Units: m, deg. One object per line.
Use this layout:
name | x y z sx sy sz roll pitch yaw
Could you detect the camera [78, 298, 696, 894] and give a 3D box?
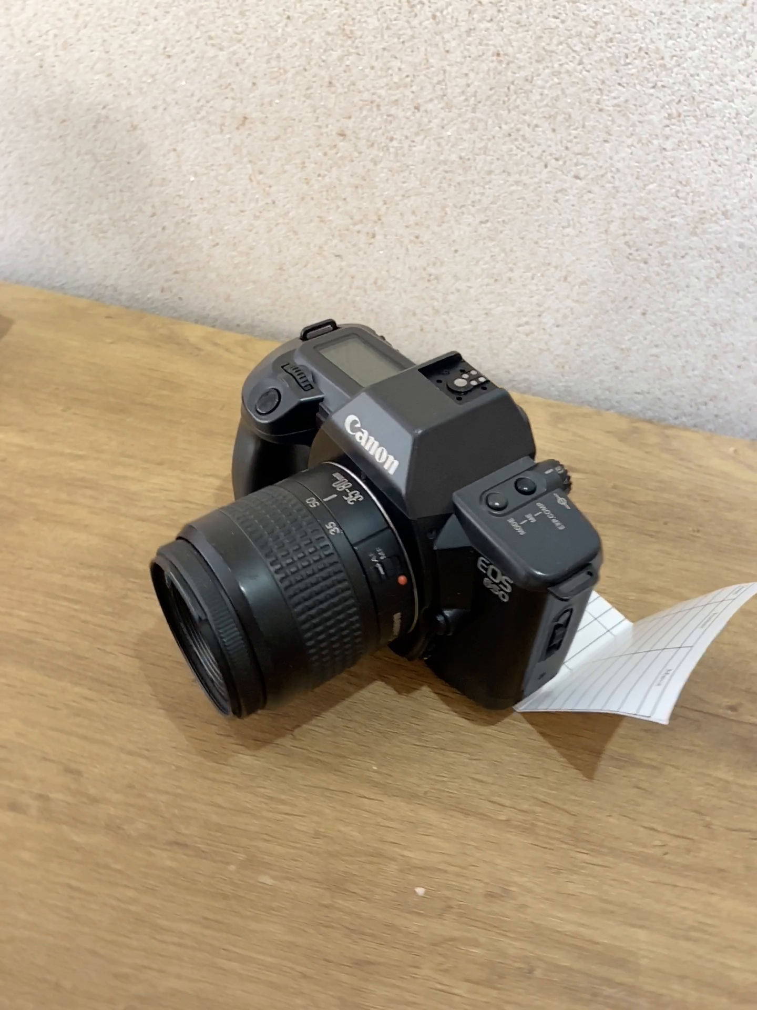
camera | -0.002 0.017 0.283 0.140 0.099 0.140 -25 50 -29
